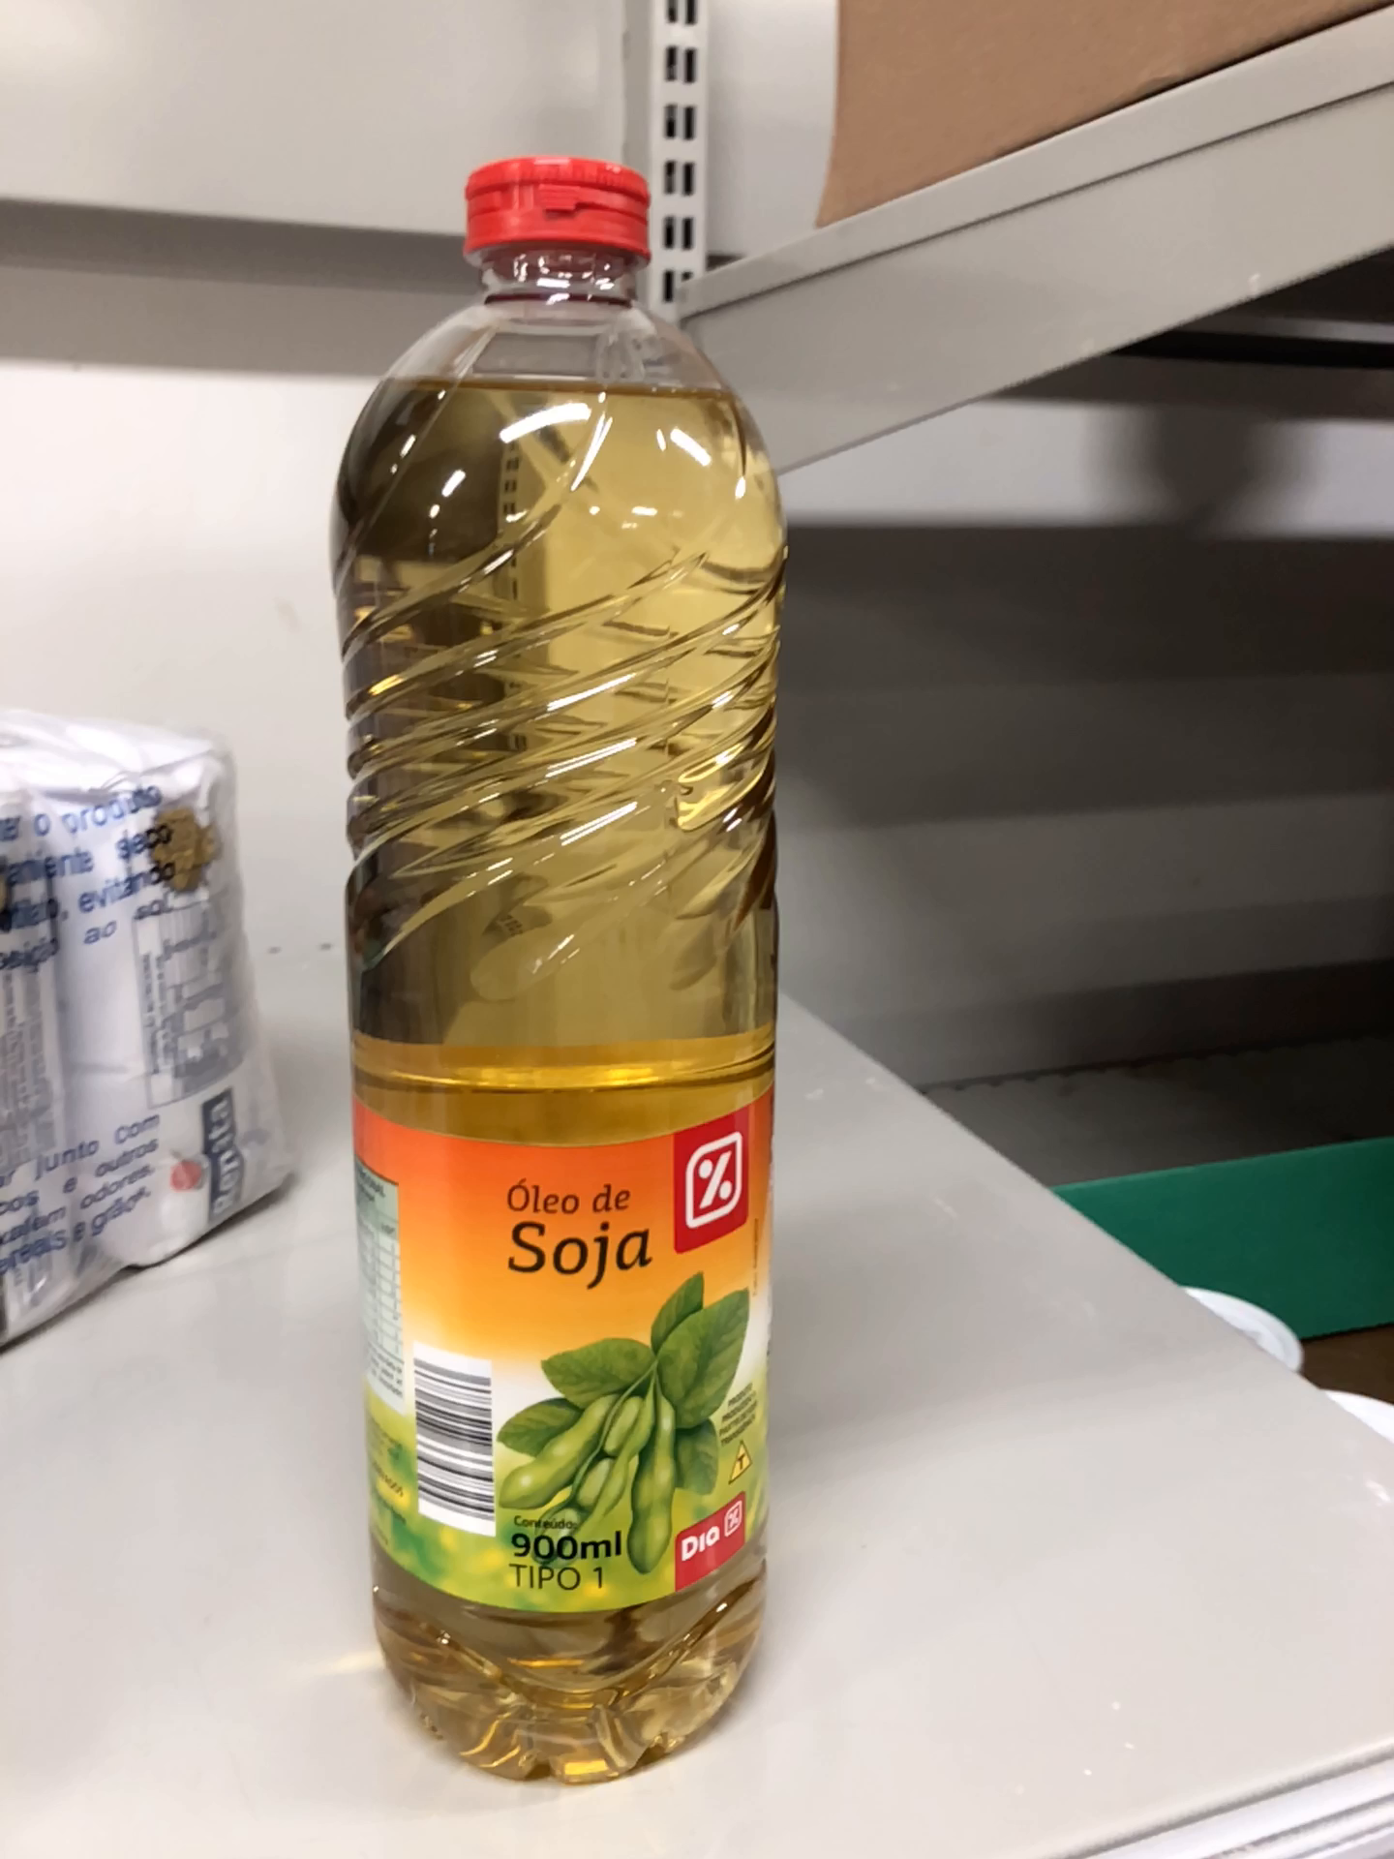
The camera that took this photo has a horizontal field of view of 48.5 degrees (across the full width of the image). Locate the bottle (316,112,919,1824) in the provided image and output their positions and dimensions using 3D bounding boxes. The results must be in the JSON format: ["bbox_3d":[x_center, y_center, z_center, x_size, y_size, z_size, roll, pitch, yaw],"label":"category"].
[{"bbox_3d":[-0.021,0.013,0.267,0.080,0.259,0.070,0,14,-12],"label":"bottle"}]
